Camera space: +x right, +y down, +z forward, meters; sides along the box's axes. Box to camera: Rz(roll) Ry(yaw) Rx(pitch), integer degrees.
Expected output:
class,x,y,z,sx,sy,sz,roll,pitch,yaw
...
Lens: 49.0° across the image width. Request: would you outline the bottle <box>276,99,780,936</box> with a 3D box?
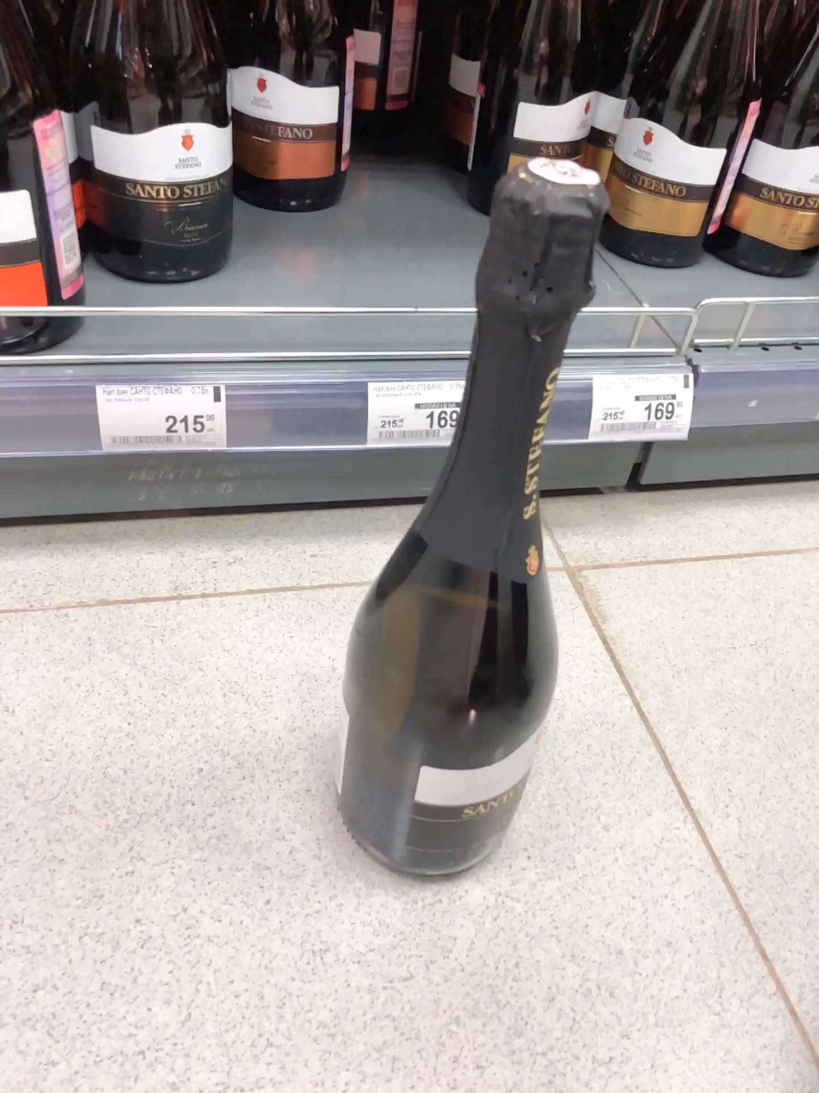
class,x,y,z,sx,sy,sz,roll,pitch,yaw
bottle,0.025,0.006,0.351,0.100,0.298,0.110,28,43,23
